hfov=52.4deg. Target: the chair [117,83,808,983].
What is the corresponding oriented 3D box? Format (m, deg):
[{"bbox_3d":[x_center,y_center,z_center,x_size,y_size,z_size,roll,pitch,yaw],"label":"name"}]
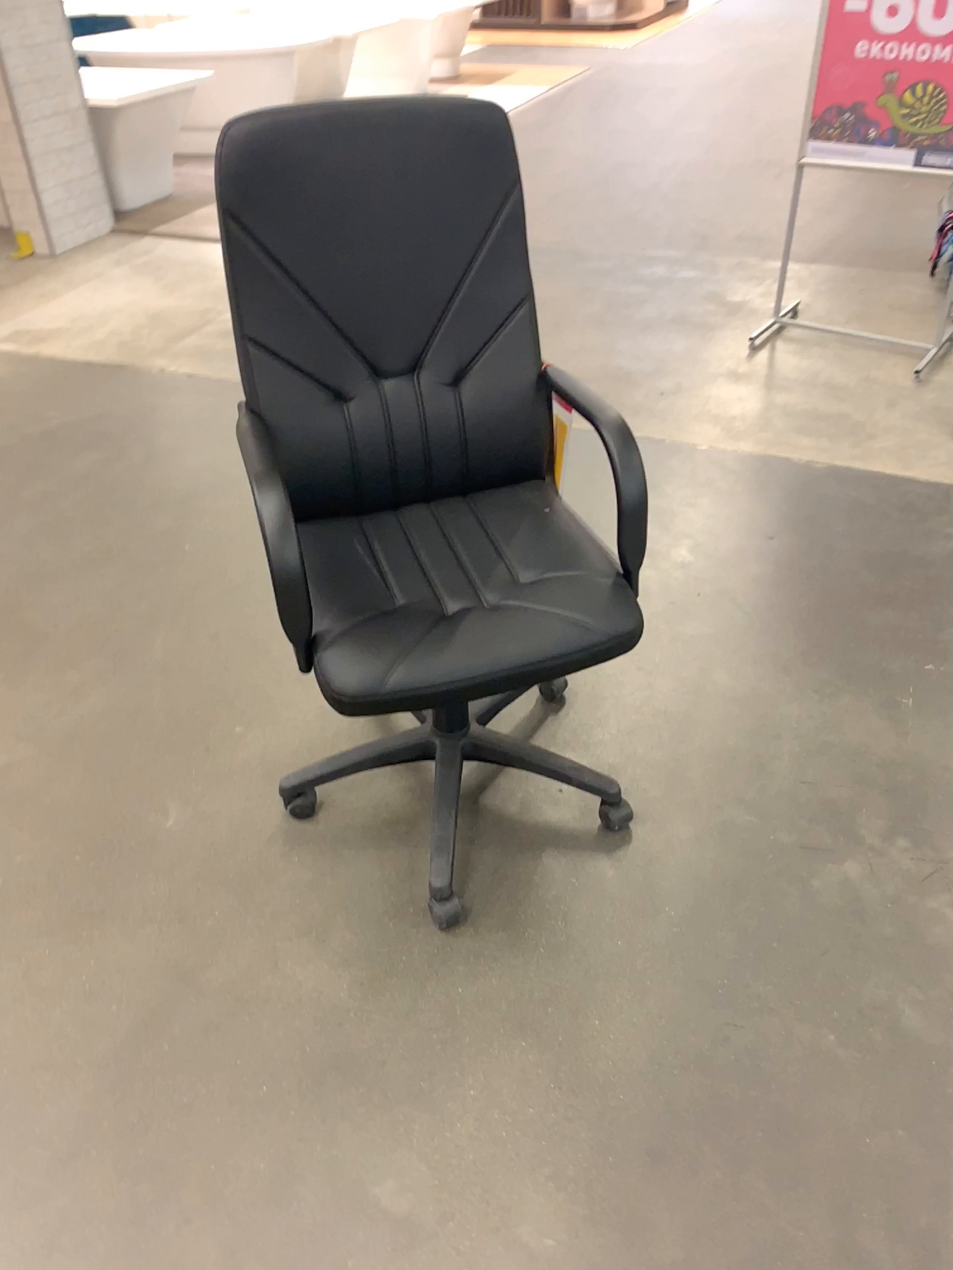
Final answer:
[{"bbox_3d":[-0.087,-0.196,1.560,0.670,1.084,0.814,-12,38,-14],"label":"chair"}]
